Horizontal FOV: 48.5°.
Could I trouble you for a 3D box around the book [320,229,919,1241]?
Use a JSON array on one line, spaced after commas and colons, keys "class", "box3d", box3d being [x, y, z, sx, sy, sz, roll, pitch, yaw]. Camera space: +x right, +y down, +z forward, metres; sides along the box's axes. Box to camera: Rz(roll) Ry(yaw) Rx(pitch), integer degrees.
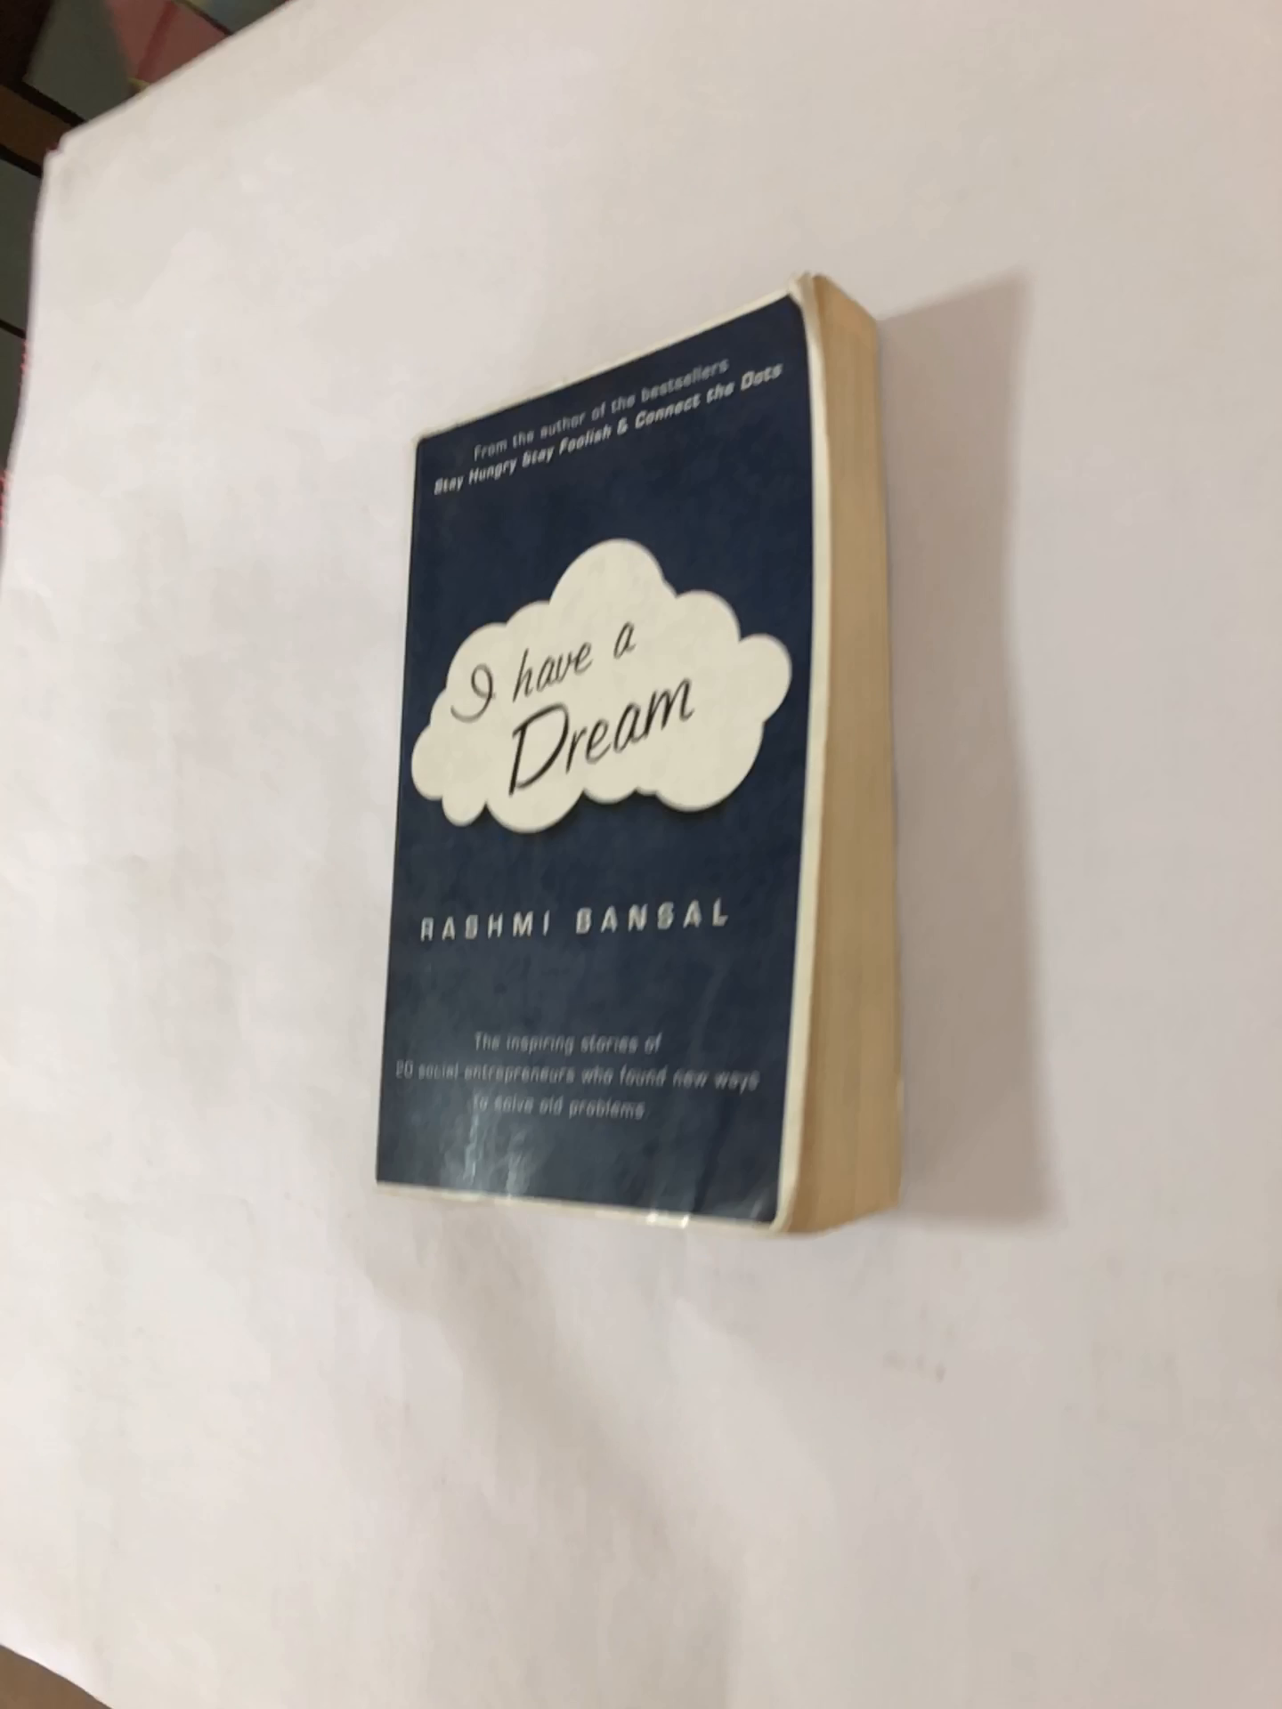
[{"class": "book", "box3d": [-0.008, -0.021, 0.326, 0.141, 0.030, 0.200, -6, 77, 37]}]
